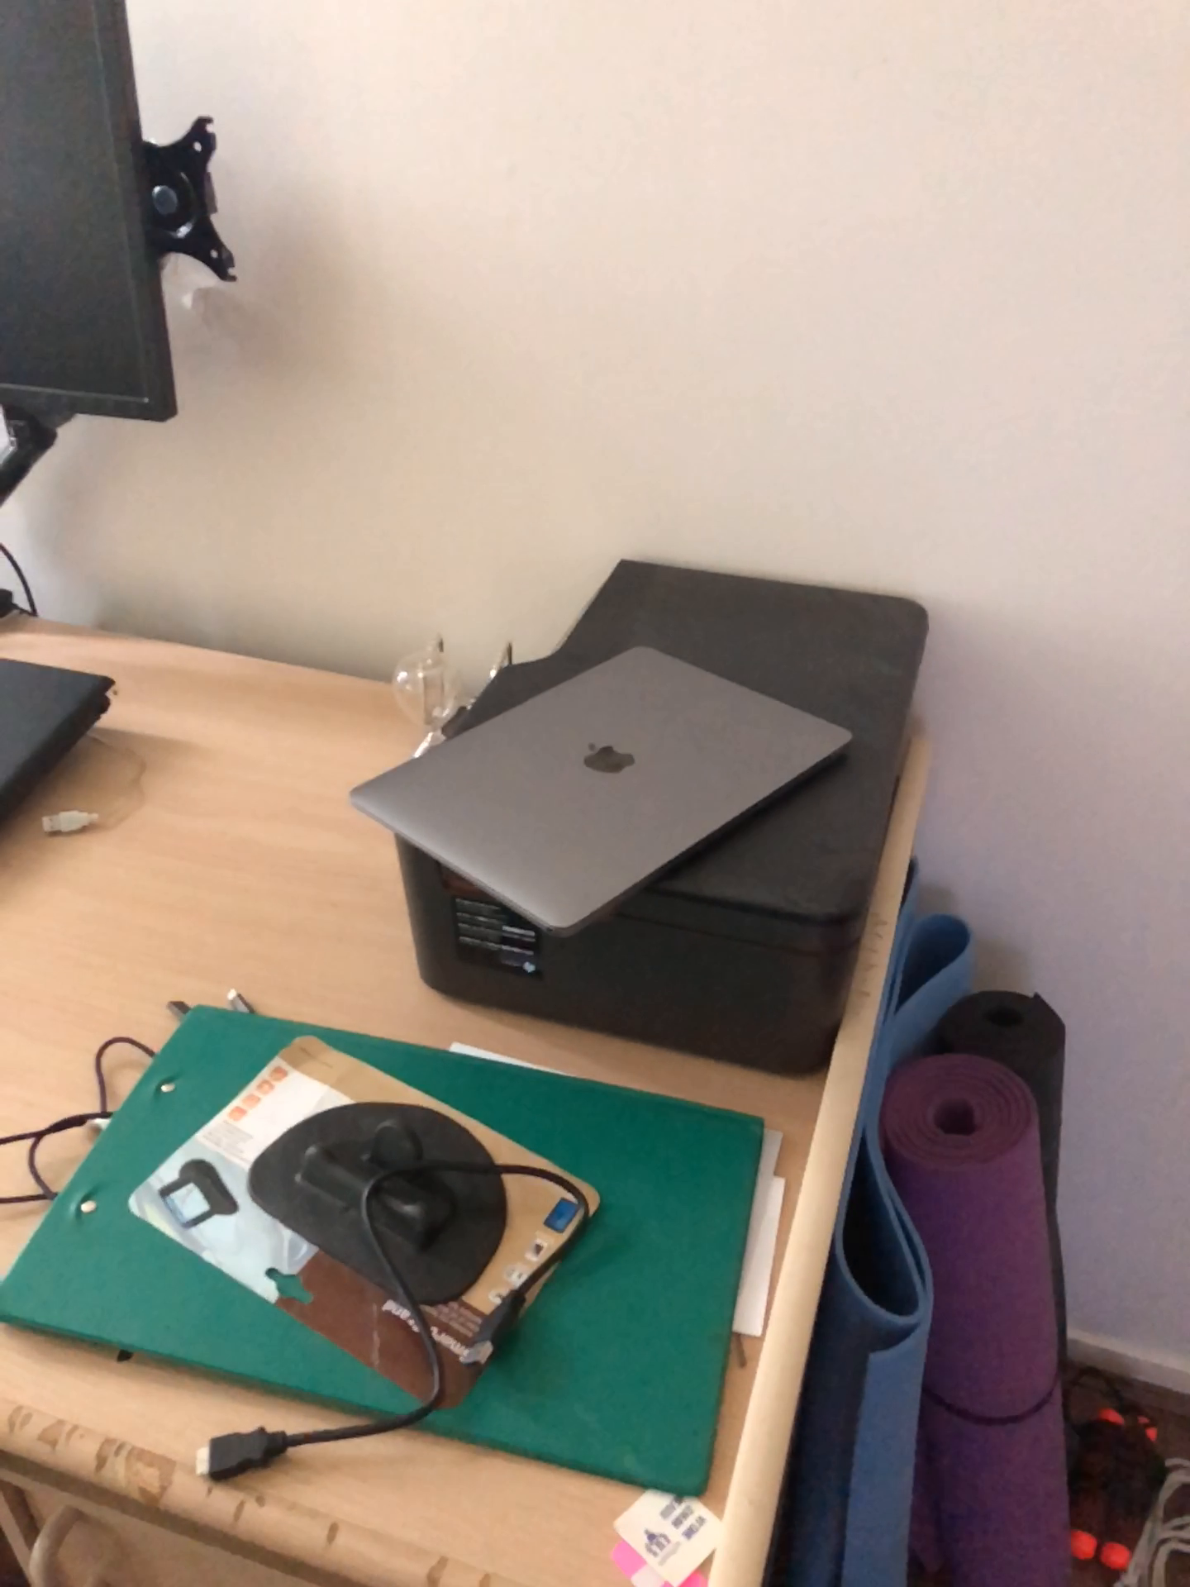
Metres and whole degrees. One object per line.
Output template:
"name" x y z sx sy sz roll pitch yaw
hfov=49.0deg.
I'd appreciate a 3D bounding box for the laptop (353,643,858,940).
"laptop" 0.010 -0.016 0.827 0.189 0.007 0.266 28 44 37
